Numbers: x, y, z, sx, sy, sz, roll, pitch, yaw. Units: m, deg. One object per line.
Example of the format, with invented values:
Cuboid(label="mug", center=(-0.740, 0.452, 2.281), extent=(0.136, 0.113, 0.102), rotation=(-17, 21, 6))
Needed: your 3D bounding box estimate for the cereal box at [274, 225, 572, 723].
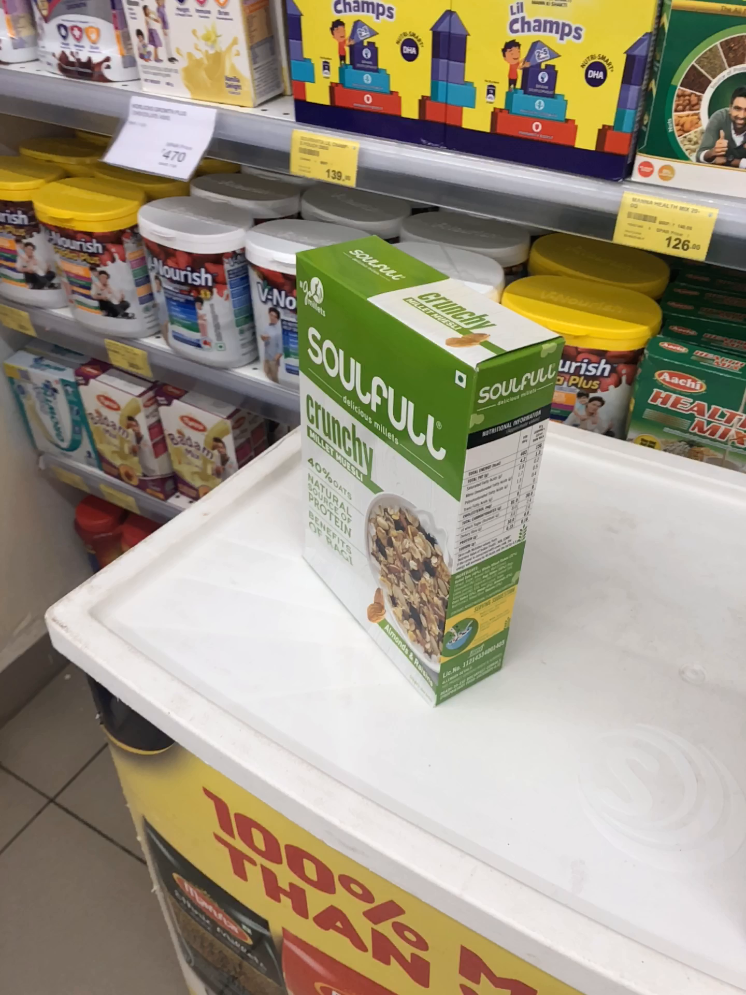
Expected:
Cuboid(label="cereal box", center=(0.022, -0.015, 0.519), extent=(0.070, 0.249, 0.181), rotation=(-22, 42, -24))
